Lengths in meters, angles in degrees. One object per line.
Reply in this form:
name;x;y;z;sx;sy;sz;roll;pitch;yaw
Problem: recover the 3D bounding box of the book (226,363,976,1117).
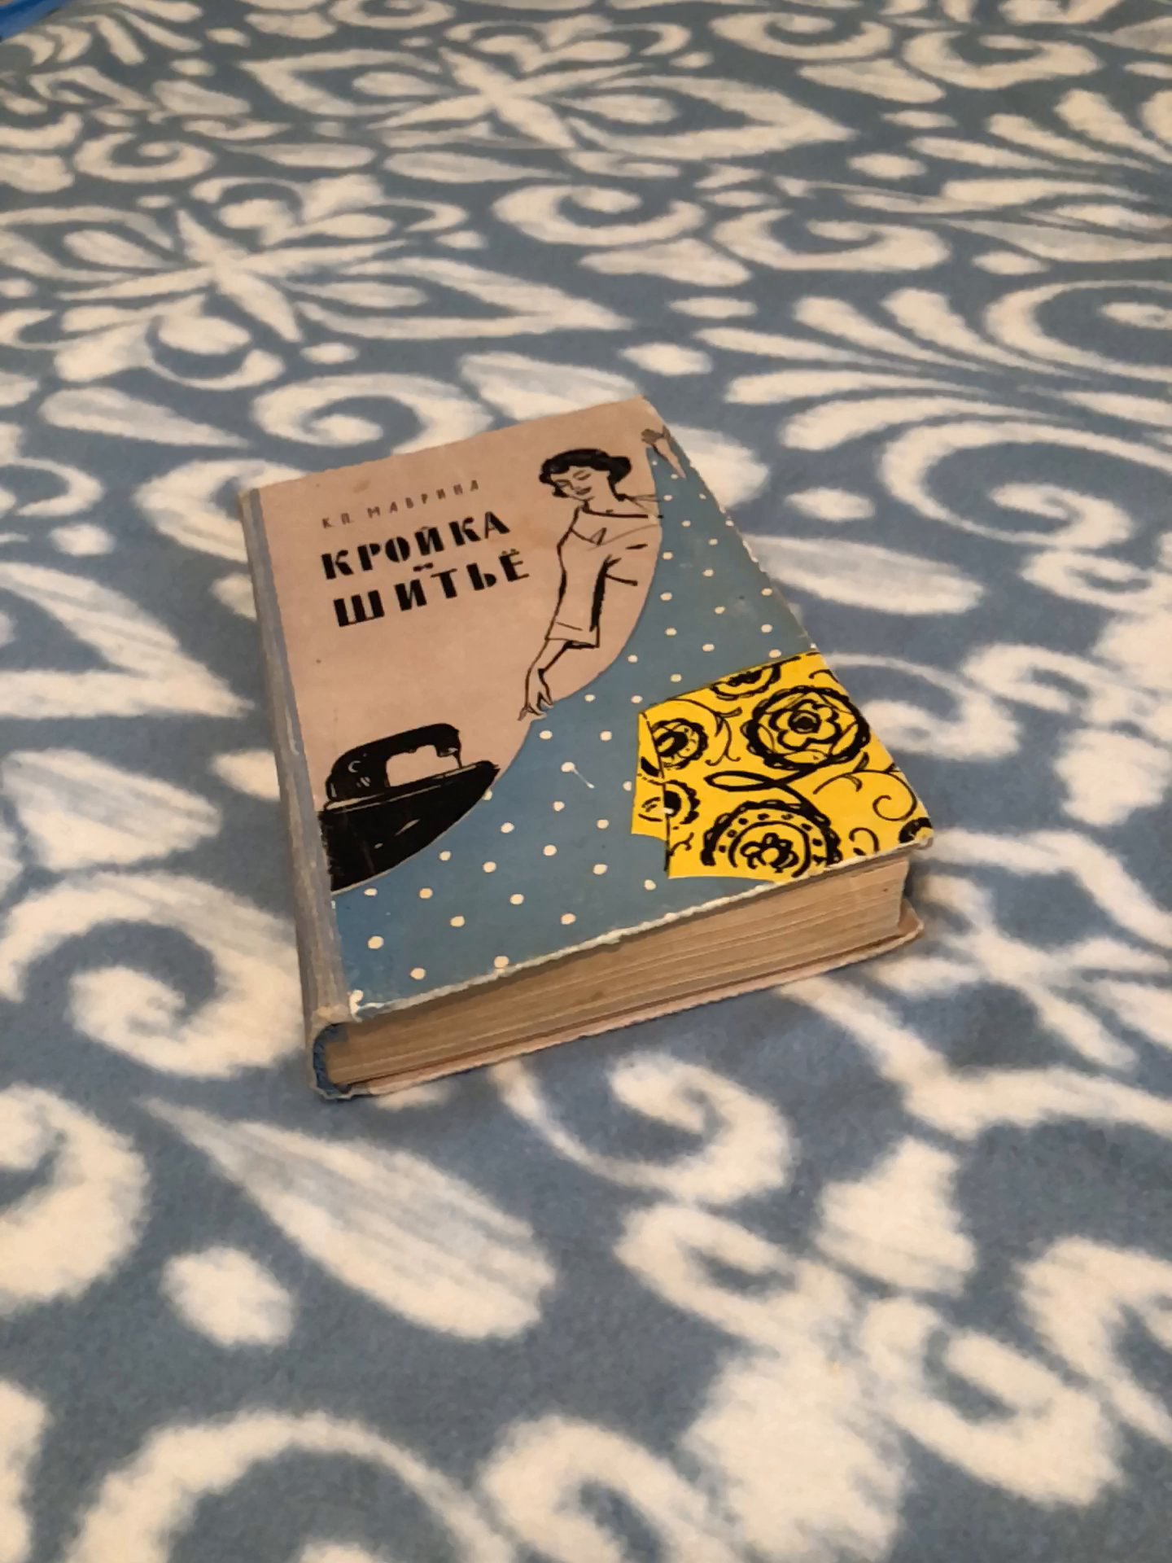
book;-0.015;-0.034;0.369;0.151;0.037;0.232;-16;44;-5
